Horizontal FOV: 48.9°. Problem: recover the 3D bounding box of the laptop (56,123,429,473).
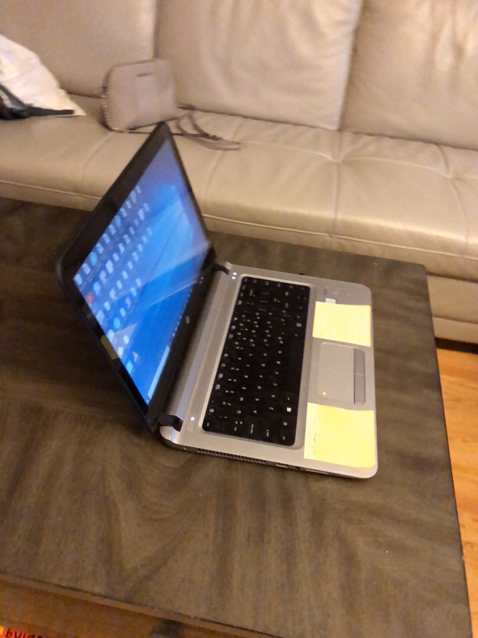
[{"bbox_3d":[0.020,-0.045,0.612,0.306,0.208,0.321,9,42,5],"label":"laptop"}]
